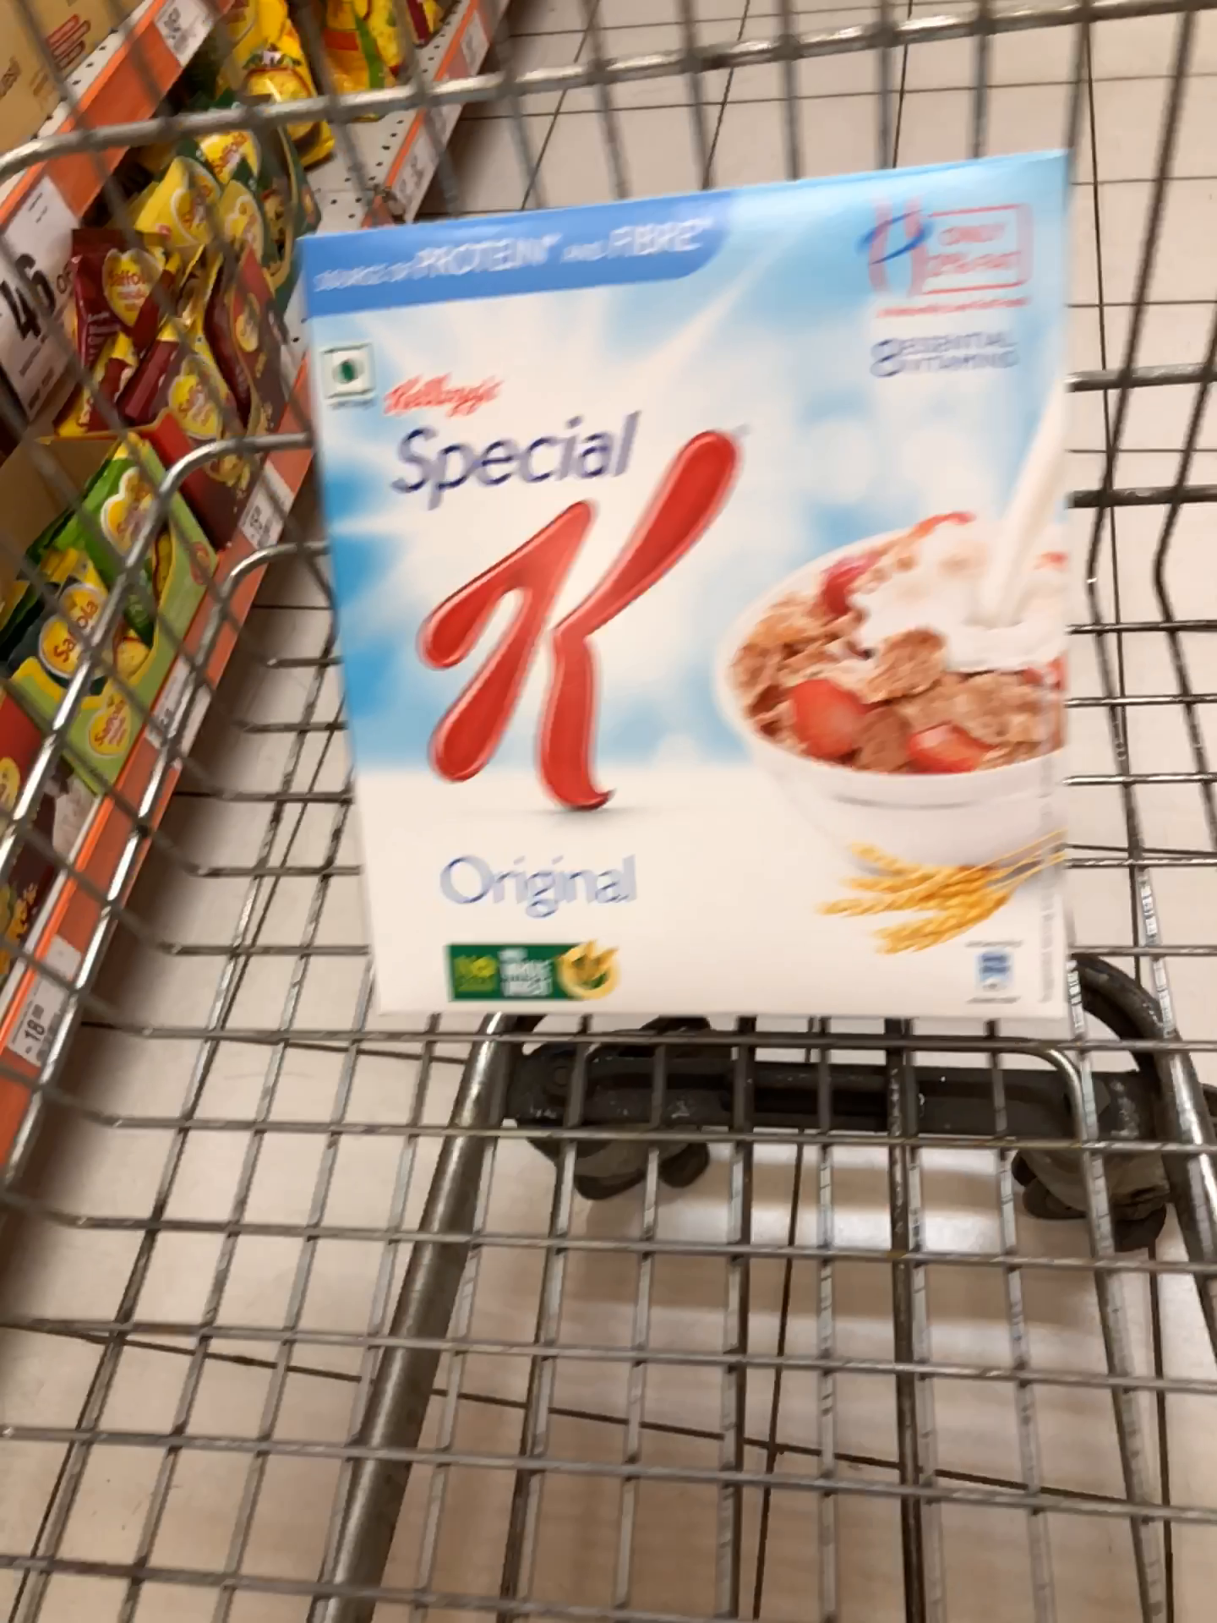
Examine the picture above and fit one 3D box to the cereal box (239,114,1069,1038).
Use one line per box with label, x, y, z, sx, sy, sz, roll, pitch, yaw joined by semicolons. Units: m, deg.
cereal box;0.018;-0.052;0.360;0.190;0.210;0.070;-1;12;10
